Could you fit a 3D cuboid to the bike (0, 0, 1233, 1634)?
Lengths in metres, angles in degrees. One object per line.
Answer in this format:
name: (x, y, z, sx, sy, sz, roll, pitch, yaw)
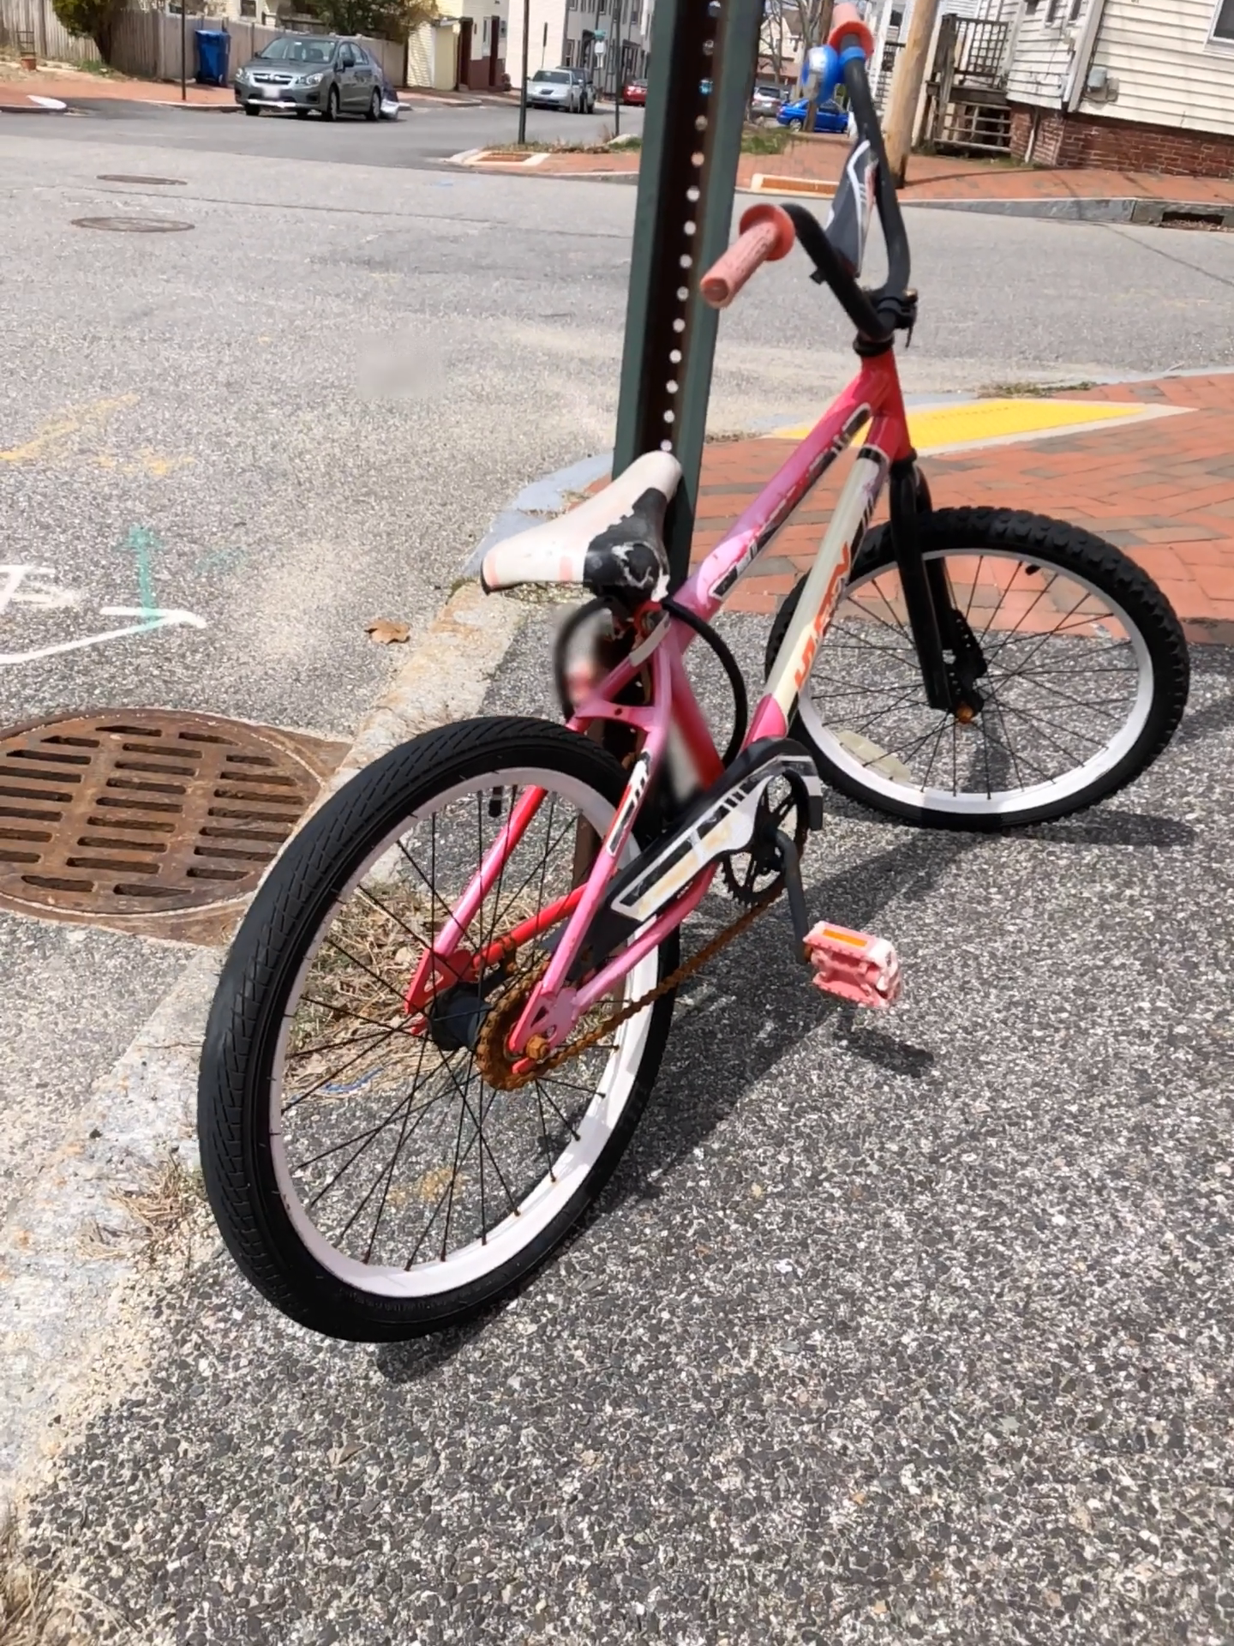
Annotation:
bike: (0.185, -0.197, 1.099, 0.696, 0.887, 1.182, 30, 39, 33)
